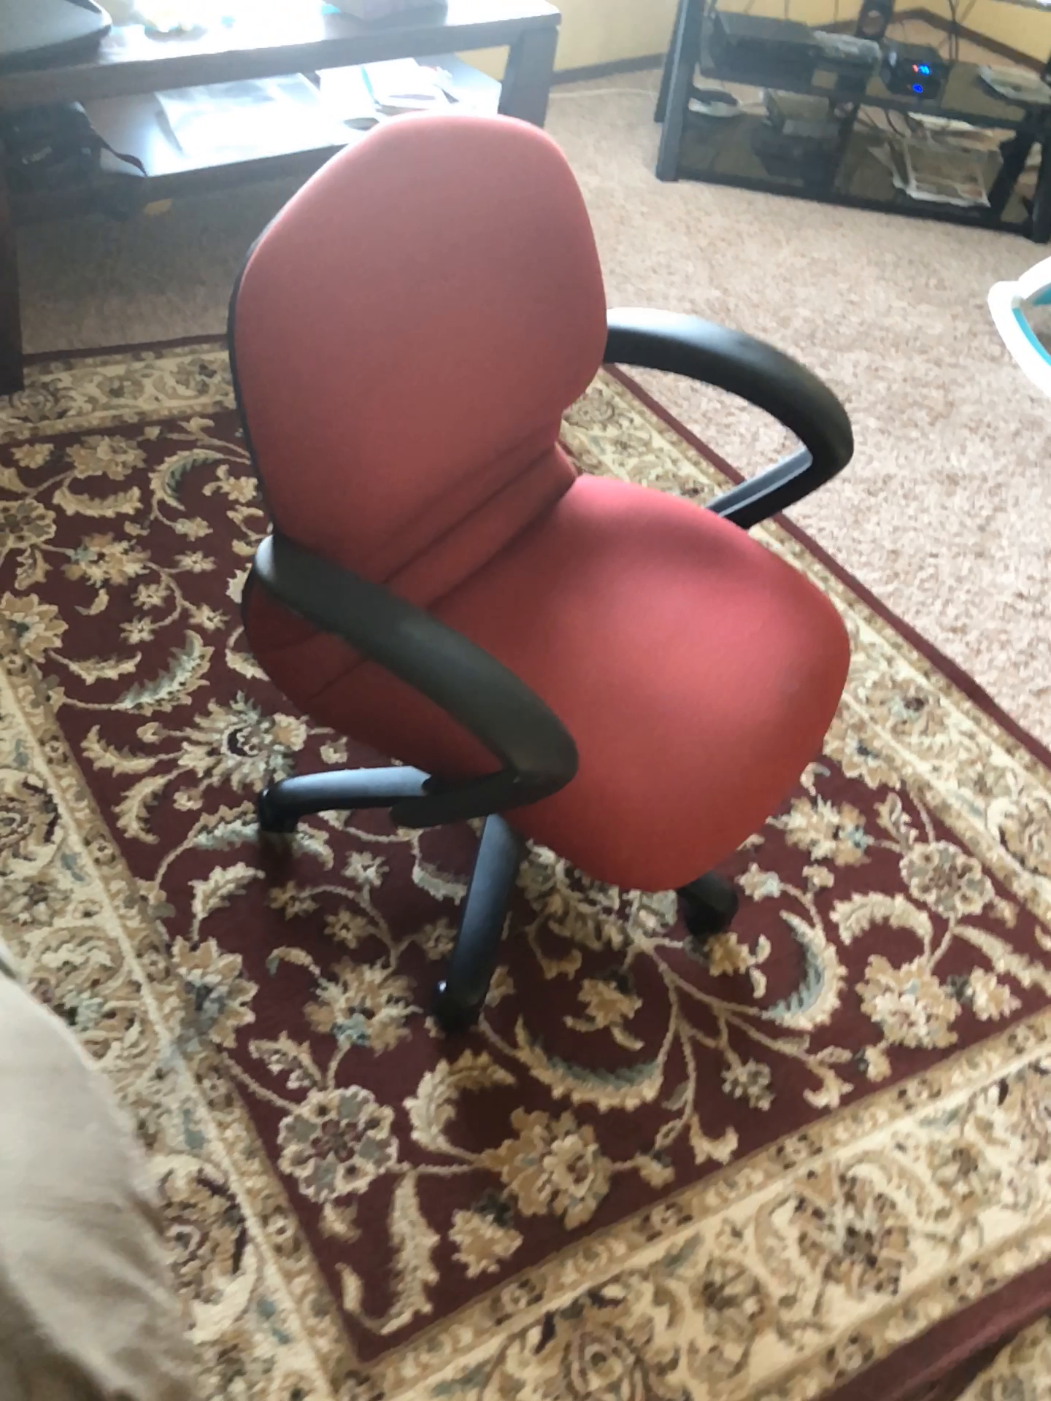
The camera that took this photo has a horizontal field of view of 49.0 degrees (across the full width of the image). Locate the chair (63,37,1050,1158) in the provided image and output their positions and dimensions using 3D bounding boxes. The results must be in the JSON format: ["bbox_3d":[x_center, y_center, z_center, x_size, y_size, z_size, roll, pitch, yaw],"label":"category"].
[{"bbox_3d":[0.059,-0.120,1.182,0.620,0.729,0.651,32,50,18],"label":"chair"}]
